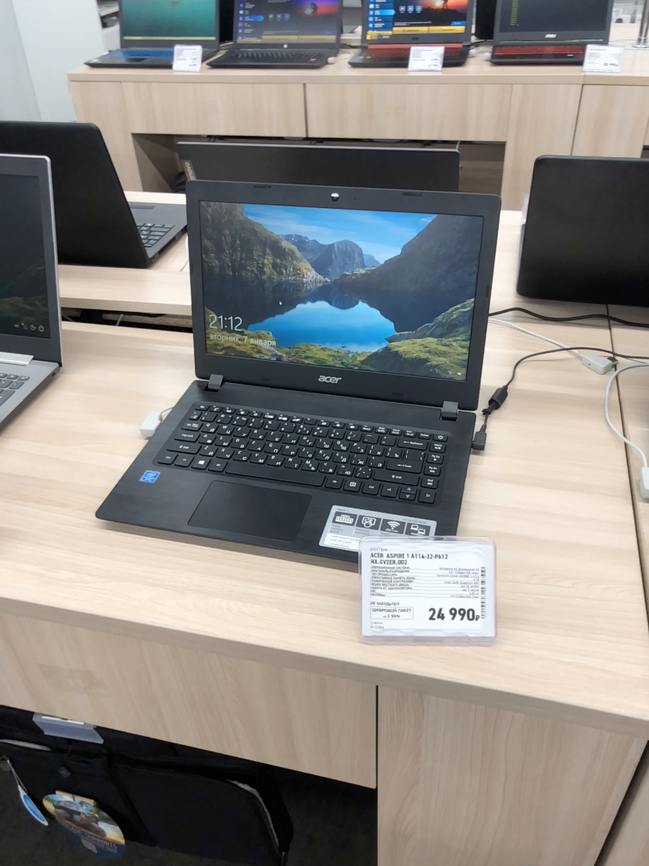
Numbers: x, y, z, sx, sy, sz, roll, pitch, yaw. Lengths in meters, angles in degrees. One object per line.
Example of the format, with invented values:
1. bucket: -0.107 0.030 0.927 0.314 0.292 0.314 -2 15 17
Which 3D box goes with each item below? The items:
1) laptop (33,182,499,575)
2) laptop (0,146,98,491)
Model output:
1. laptop: -0.023 -0.079 0.708 0.342 0.223 0.303 7 38 14
2. laptop: -0.548 -0.157 0.828 0.362 0.236 0.339 8 39 15
